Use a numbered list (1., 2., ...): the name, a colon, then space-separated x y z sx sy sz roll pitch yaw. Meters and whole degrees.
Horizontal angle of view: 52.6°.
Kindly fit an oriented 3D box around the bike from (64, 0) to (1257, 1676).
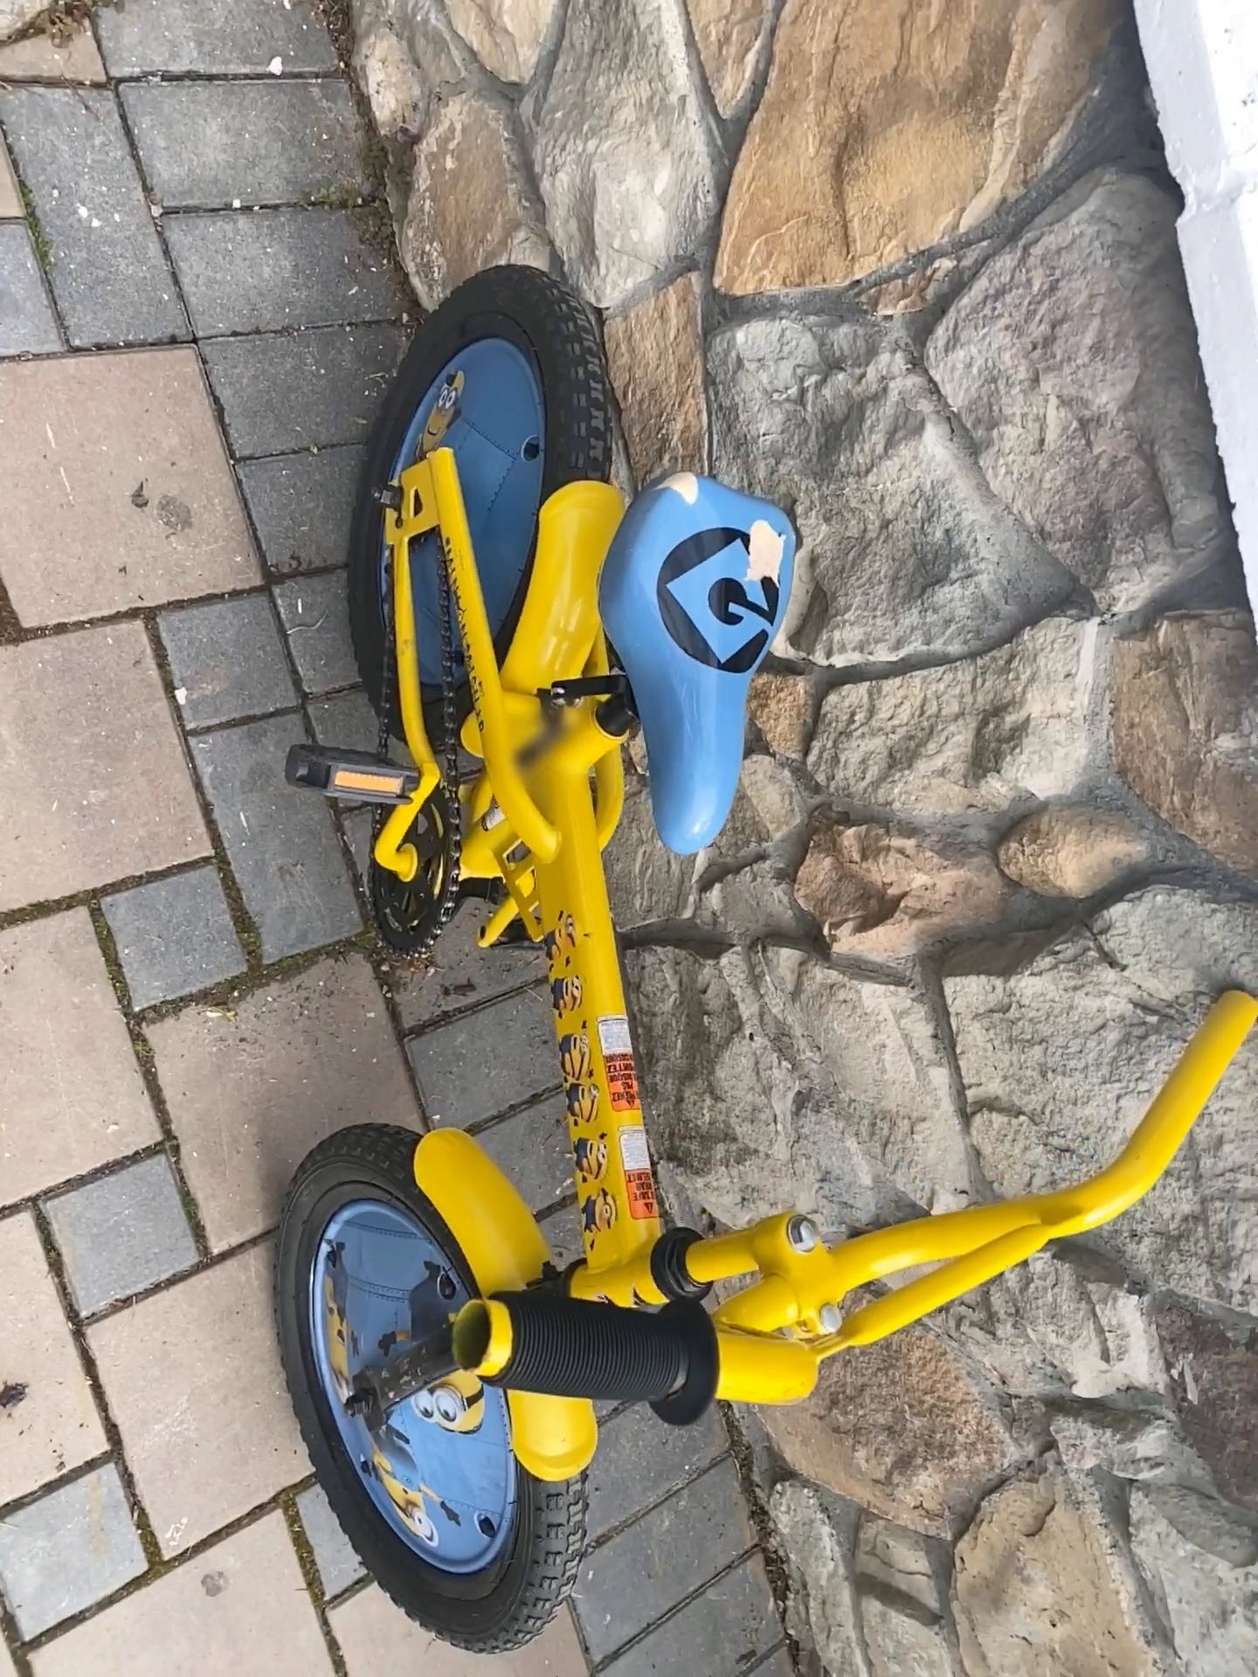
1. bike: 0.014 0.077 0.880 0.621 0.737 1.085 3 83 -33
